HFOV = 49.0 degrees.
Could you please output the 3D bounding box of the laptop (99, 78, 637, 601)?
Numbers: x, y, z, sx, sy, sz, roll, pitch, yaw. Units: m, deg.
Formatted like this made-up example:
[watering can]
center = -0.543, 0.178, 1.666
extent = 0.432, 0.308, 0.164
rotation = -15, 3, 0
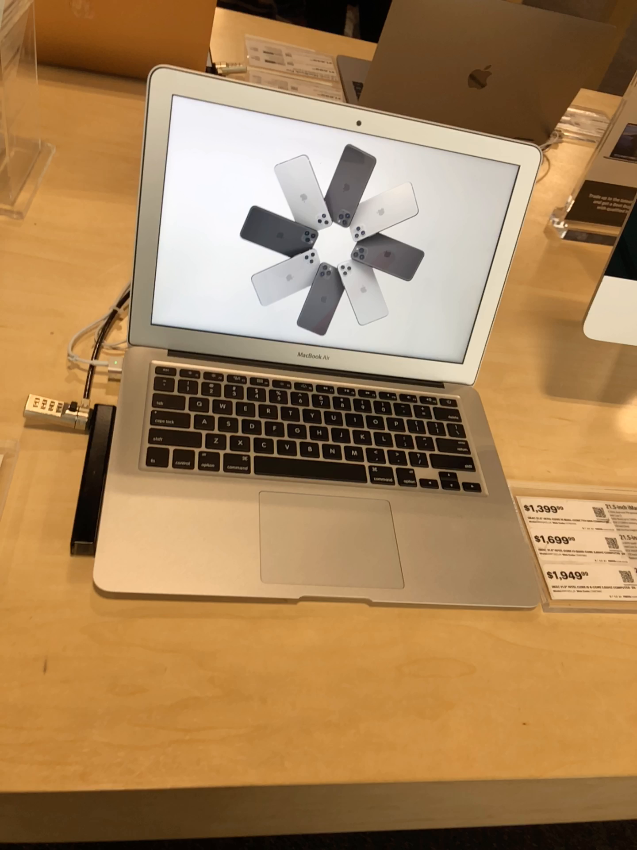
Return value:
[laptop]
center = 0.027, -0.065, 0.524
extent = 0.323, 0.202, 0.311
rotation = 5, 47, -11
